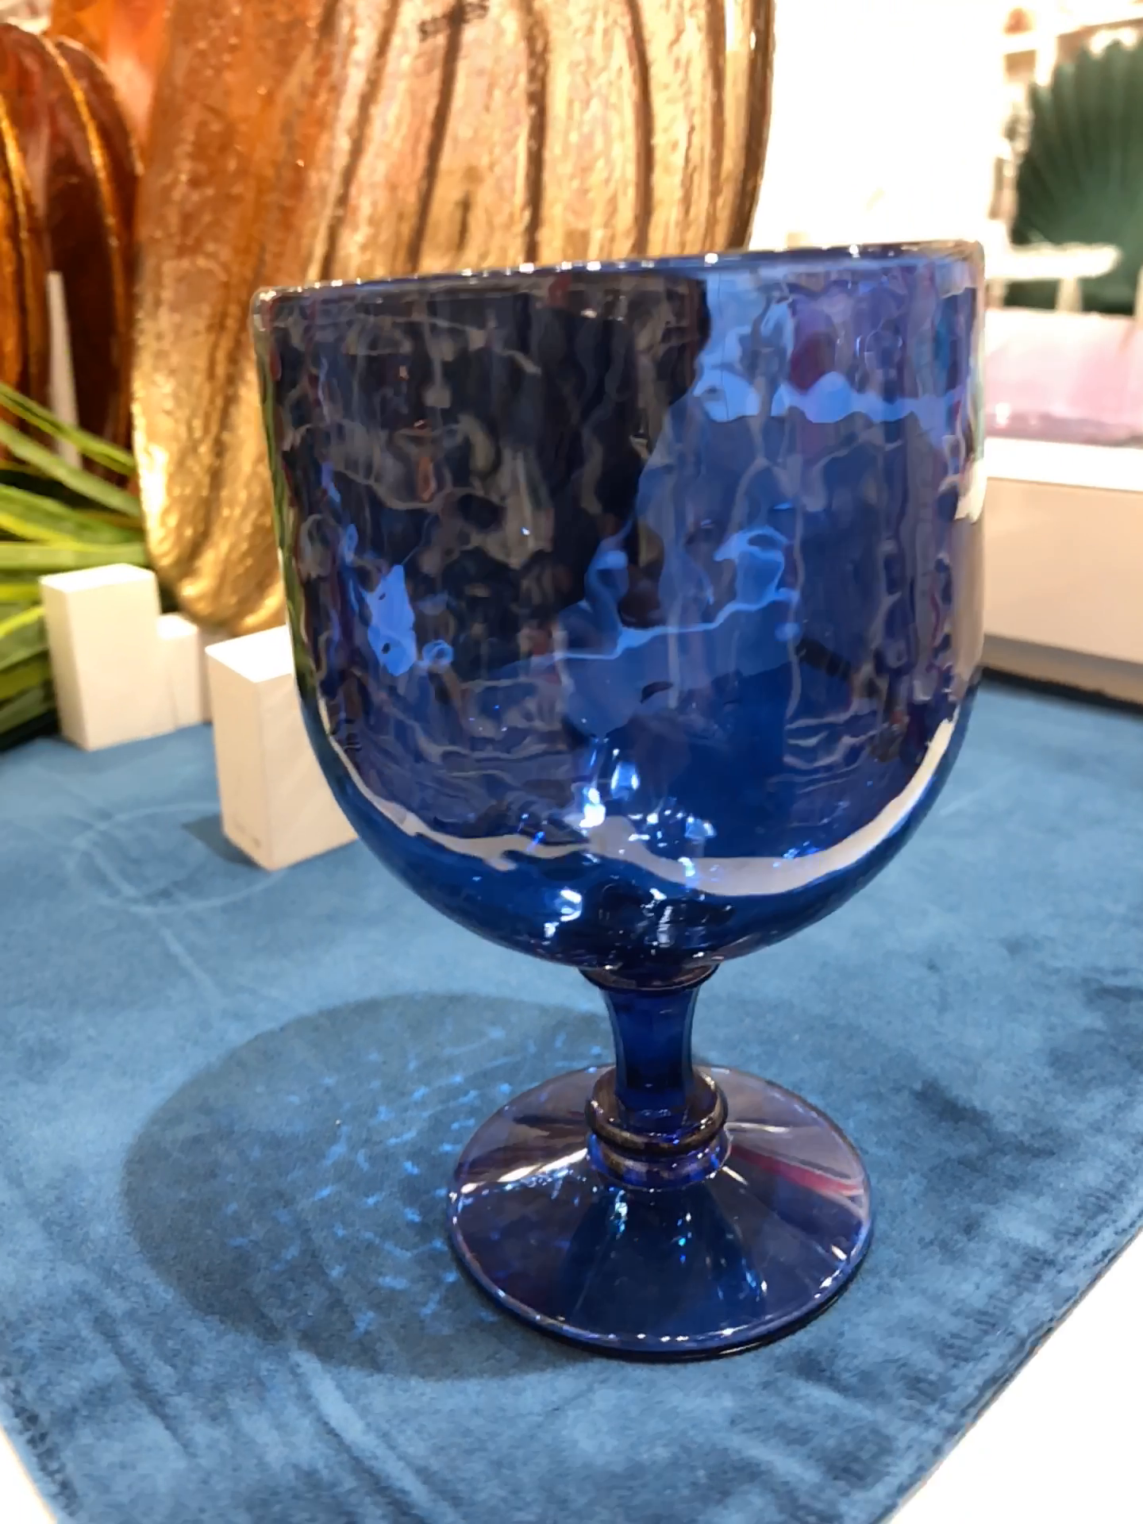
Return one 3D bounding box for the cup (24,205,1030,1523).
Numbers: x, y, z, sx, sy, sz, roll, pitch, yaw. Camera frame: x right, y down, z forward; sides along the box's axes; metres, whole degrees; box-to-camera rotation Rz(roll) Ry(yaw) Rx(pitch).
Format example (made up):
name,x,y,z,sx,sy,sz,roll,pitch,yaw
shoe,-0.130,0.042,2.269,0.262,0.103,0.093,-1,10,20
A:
name,x,y,z,sx,sy,sz,roll,pitch,yaw
cup,0.003,0.004,0.174,0.080,0.140,0.090,11,24,31
